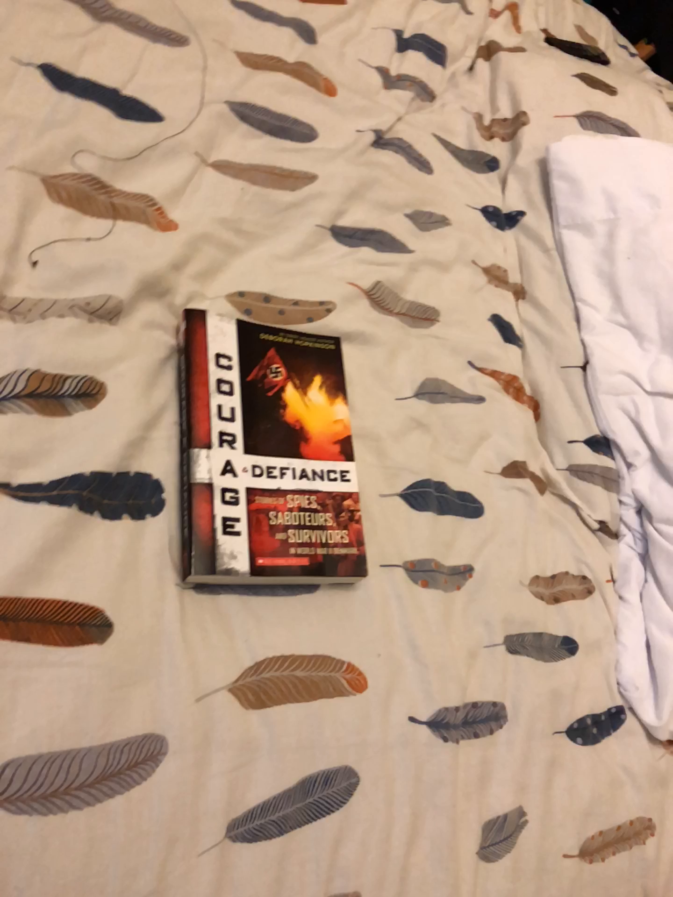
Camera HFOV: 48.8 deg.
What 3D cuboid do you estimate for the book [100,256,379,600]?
[{"bbox_3d":[-0.067,-0.010,0.537,0.201,0.020,0.230,7,67,-35],"label":"book"}]
